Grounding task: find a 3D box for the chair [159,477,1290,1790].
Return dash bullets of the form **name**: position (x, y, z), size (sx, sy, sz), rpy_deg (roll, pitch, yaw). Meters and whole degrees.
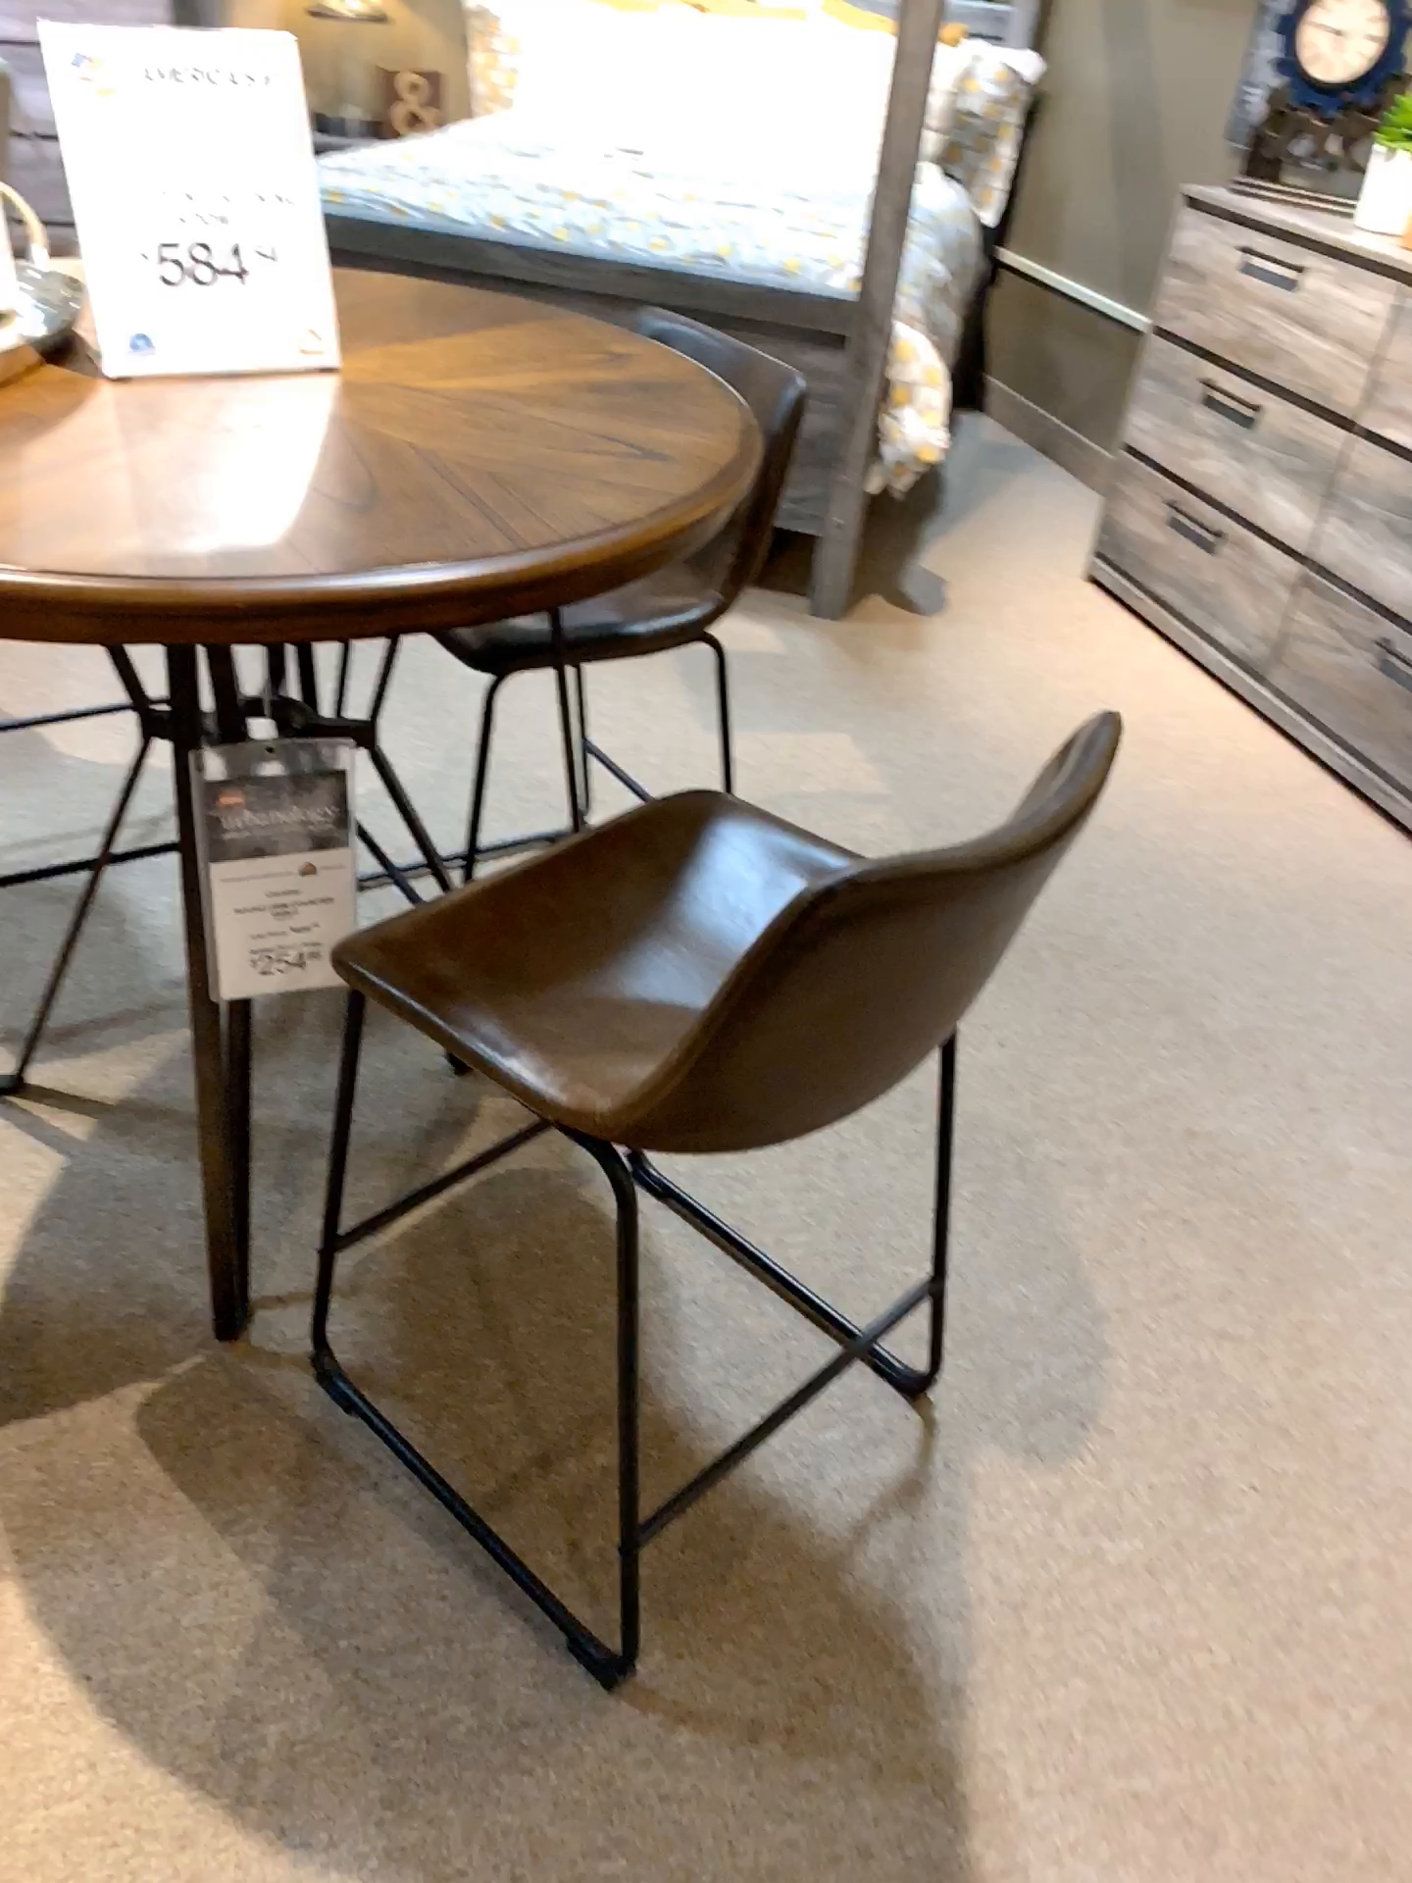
- **chair**: position (-0.011, 0.121, 1.286), size (0.582, 0.805, 0.602), rpy_deg (32, 42, 32)
